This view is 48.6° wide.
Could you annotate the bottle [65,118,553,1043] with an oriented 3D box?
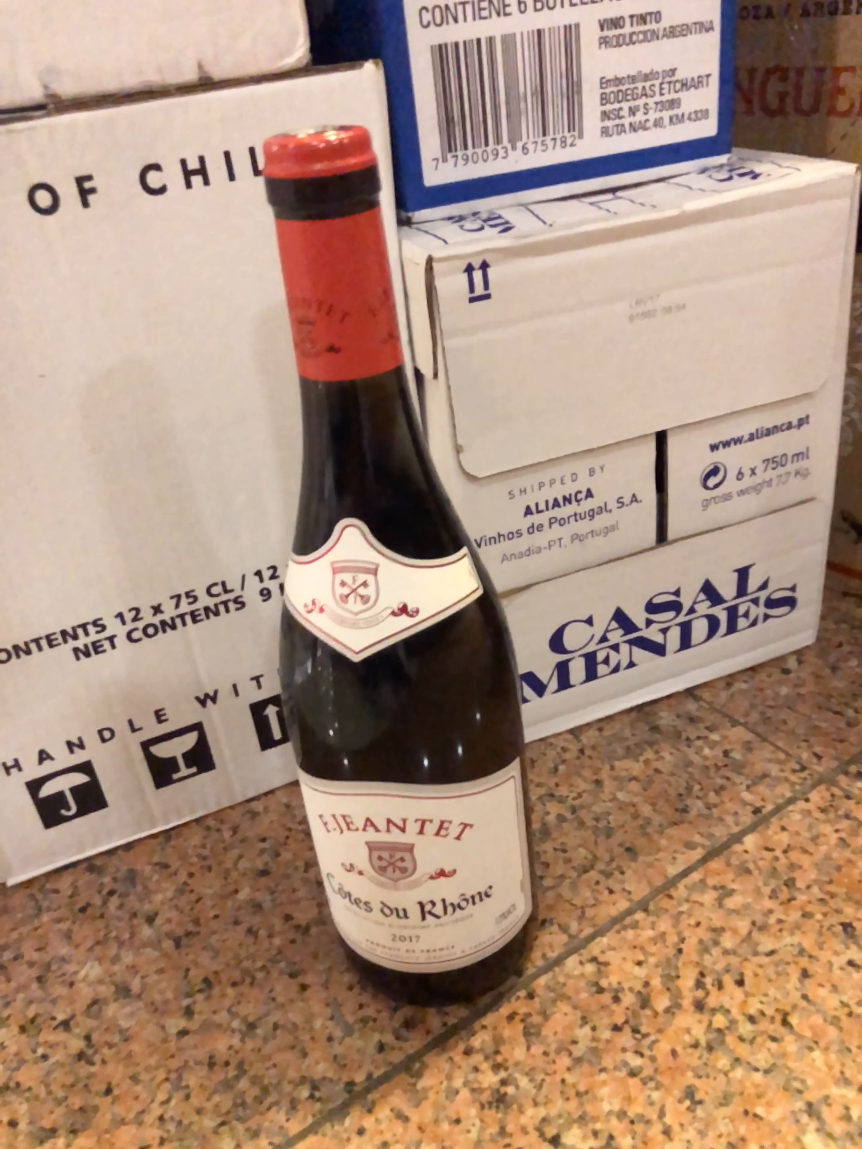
[{"bbox_3d":[-0.014,0.021,0.305,0.090,0.288,0.081,-2,30,10],"label":"bottle"}]
